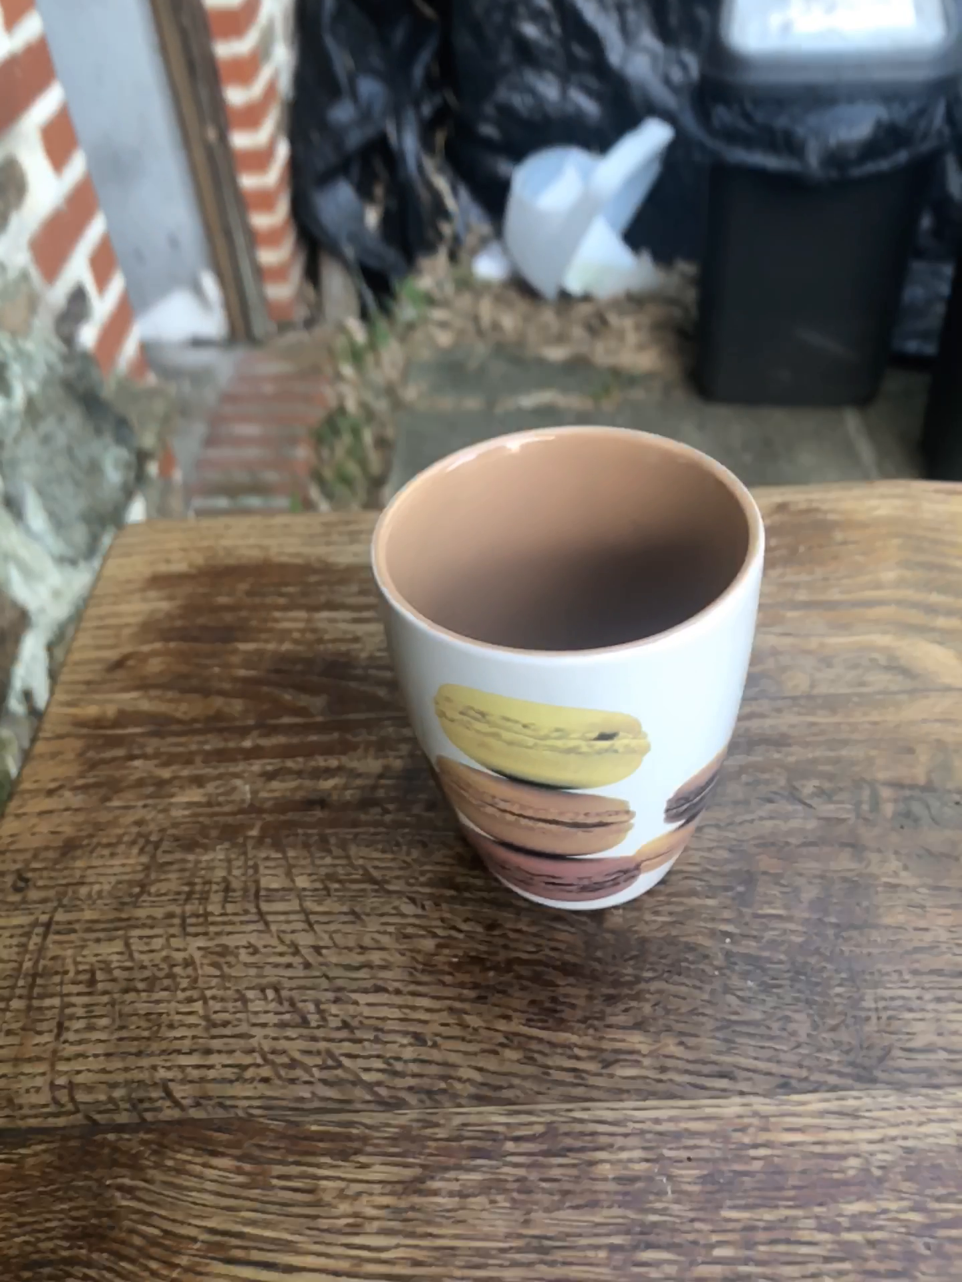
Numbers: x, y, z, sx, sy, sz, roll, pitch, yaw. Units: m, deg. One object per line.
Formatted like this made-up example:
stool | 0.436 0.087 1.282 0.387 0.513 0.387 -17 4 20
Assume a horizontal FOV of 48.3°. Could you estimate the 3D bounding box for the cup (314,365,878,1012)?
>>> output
cup | 0.020 0.006 0.280 0.093 0.090 0.124 -13 44 -9
